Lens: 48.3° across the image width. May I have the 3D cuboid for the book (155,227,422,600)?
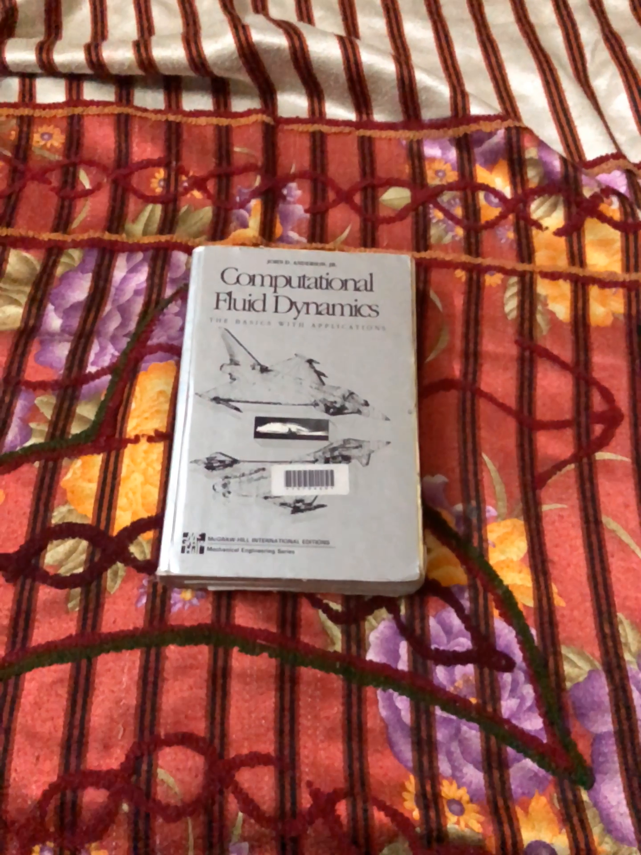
[{"bbox_3d":[-0.017,-0.014,0.501,0.160,0.060,0.250,2,69,-2],"label":"book"}]
